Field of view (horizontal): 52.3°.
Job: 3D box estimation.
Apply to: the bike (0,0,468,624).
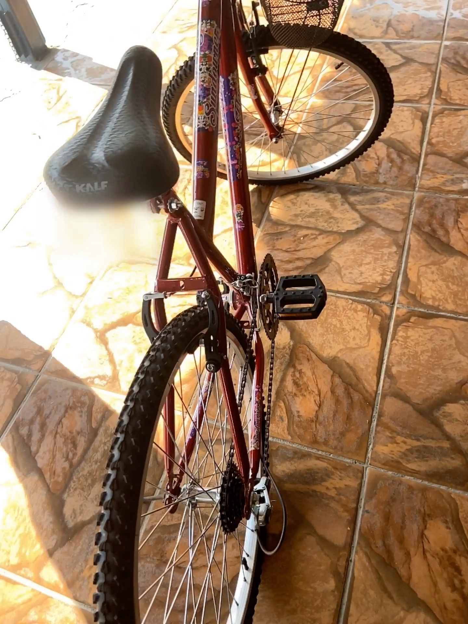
[{"bbox_3d":[0.030,-0.135,0.816,0.549,1.082,1.413,14,60,17],"label":"bike"}]
